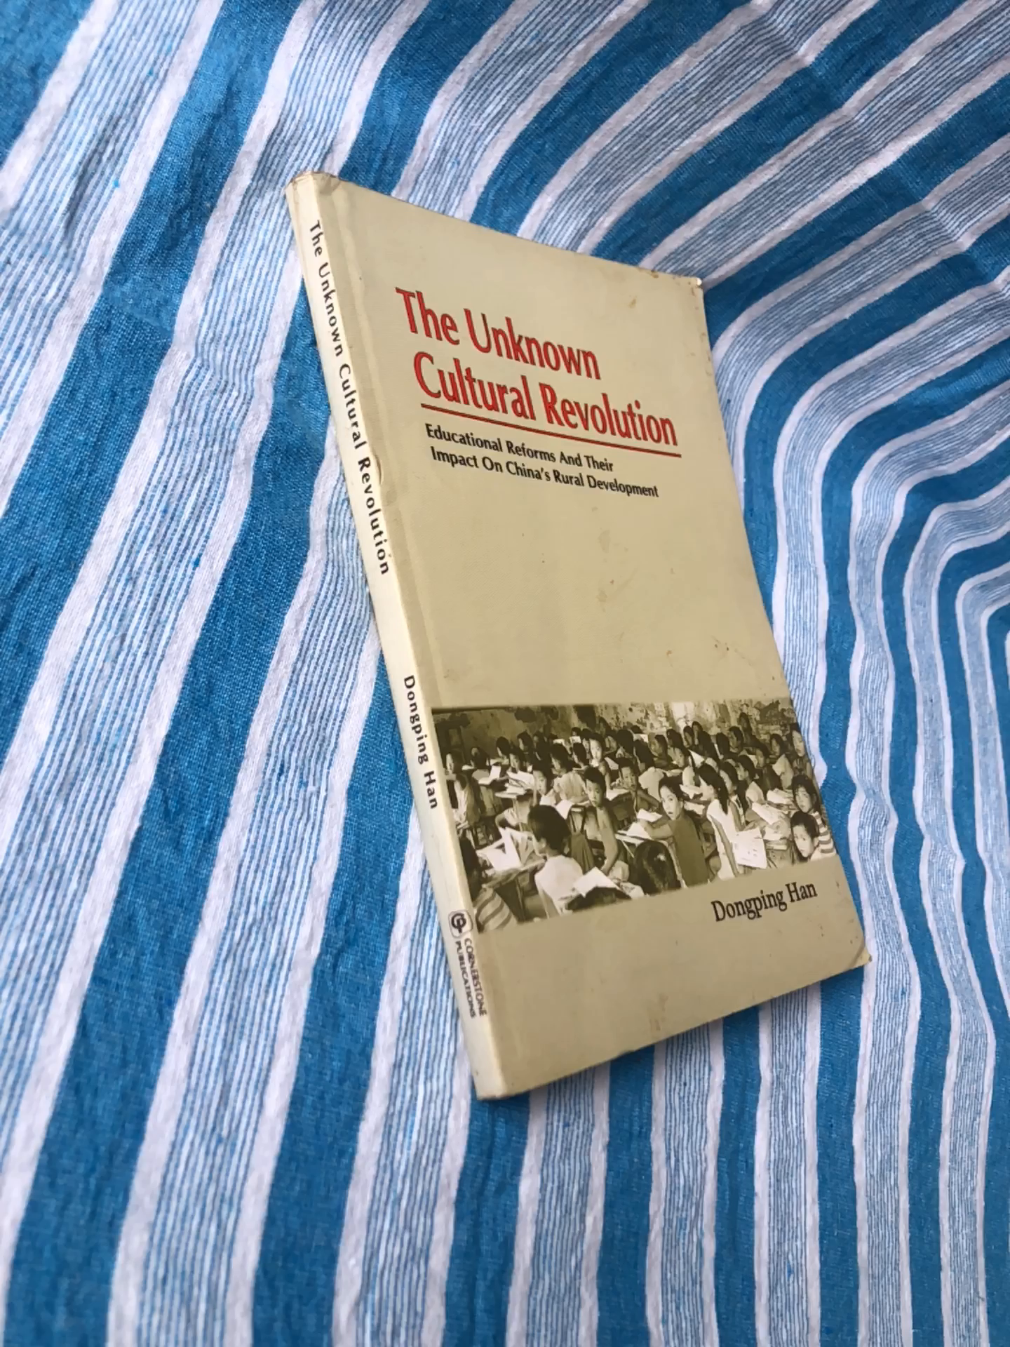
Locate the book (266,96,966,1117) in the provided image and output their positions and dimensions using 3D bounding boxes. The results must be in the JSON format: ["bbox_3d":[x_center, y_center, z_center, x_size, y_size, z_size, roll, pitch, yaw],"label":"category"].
[{"bbox_3d":[0.029,-0.027,0.283,0.141,0.020,0.230,-2,71,-36],"label":"book"}]
